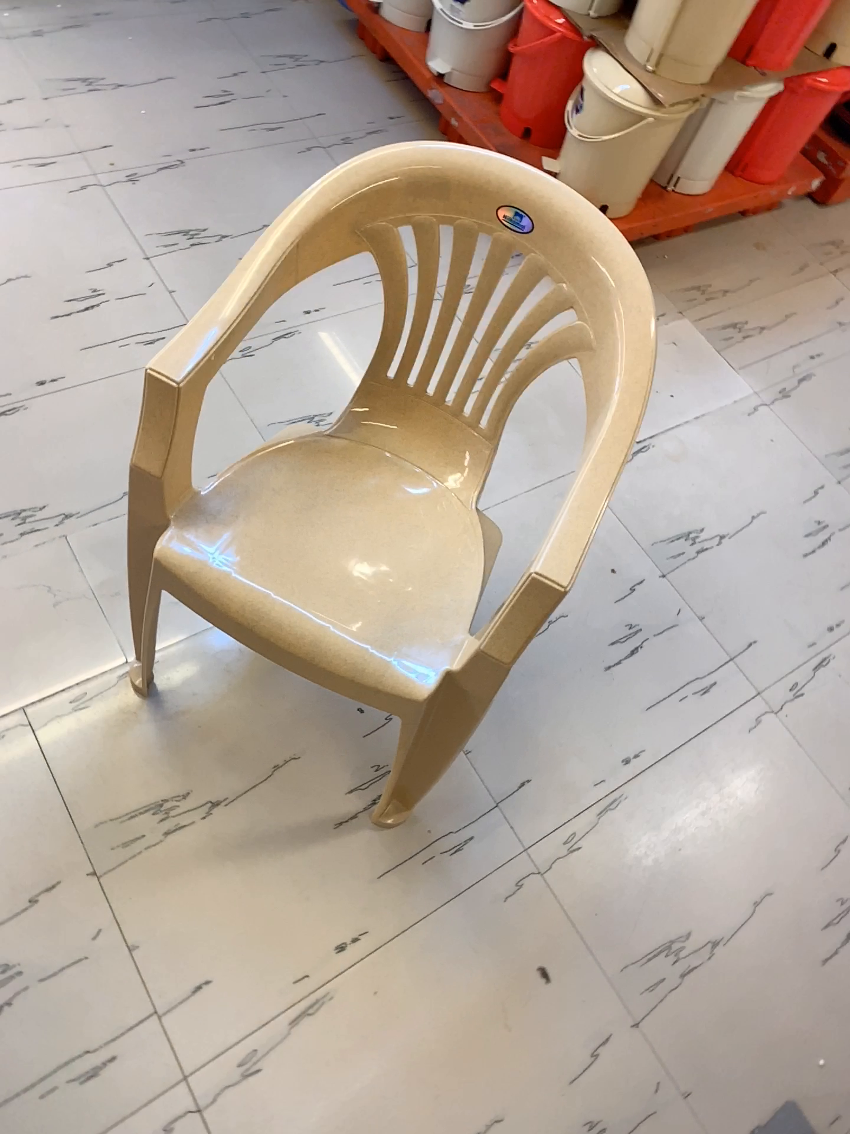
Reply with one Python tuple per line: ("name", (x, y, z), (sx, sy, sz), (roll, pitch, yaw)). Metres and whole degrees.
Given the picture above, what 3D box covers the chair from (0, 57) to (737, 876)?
("chair", (-0.093, -0.087, 1.198), (0.570, 0.746, 0.634), (29, 56, 4))
